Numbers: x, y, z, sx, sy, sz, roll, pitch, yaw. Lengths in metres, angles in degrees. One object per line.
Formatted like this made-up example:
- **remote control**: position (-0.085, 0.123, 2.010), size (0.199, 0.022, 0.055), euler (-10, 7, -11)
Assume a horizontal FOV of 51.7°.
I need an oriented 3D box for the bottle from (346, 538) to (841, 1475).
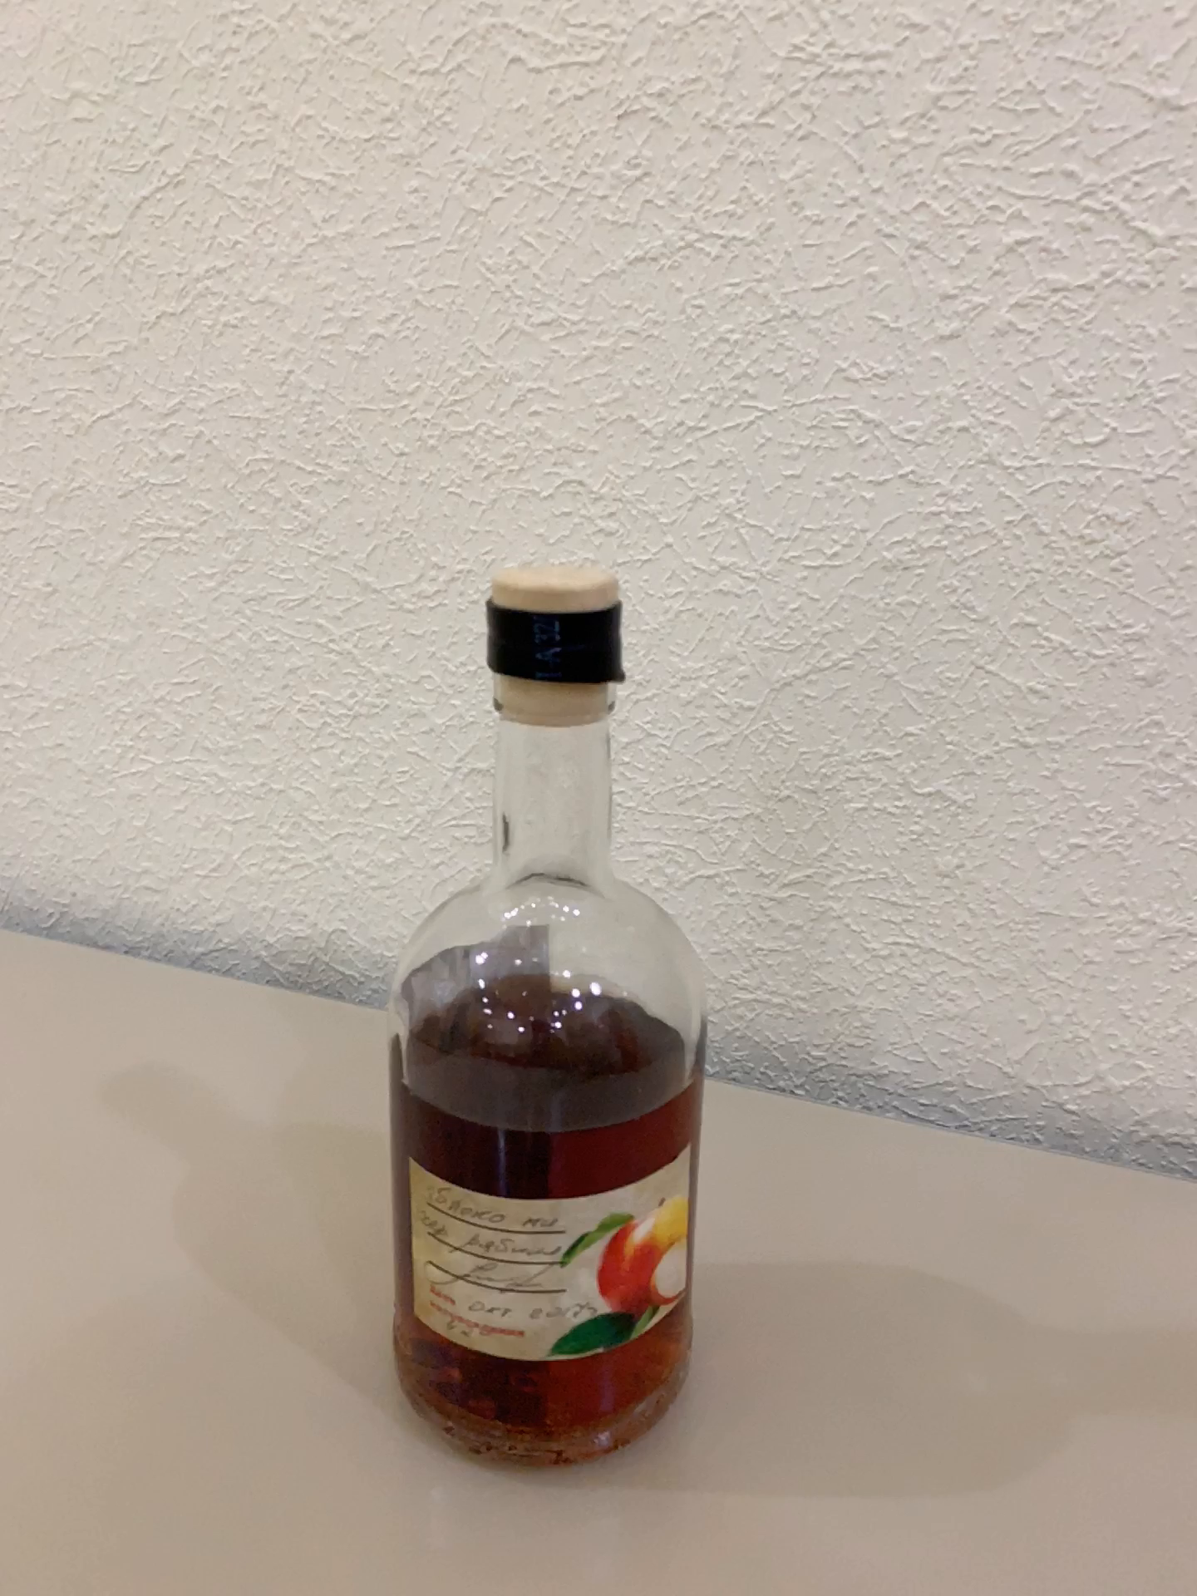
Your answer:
- **bottle**: position (-0.006, 0.046, 0.293), size (0.090, 0.201, 0.080), euler (0, 18, -4)
